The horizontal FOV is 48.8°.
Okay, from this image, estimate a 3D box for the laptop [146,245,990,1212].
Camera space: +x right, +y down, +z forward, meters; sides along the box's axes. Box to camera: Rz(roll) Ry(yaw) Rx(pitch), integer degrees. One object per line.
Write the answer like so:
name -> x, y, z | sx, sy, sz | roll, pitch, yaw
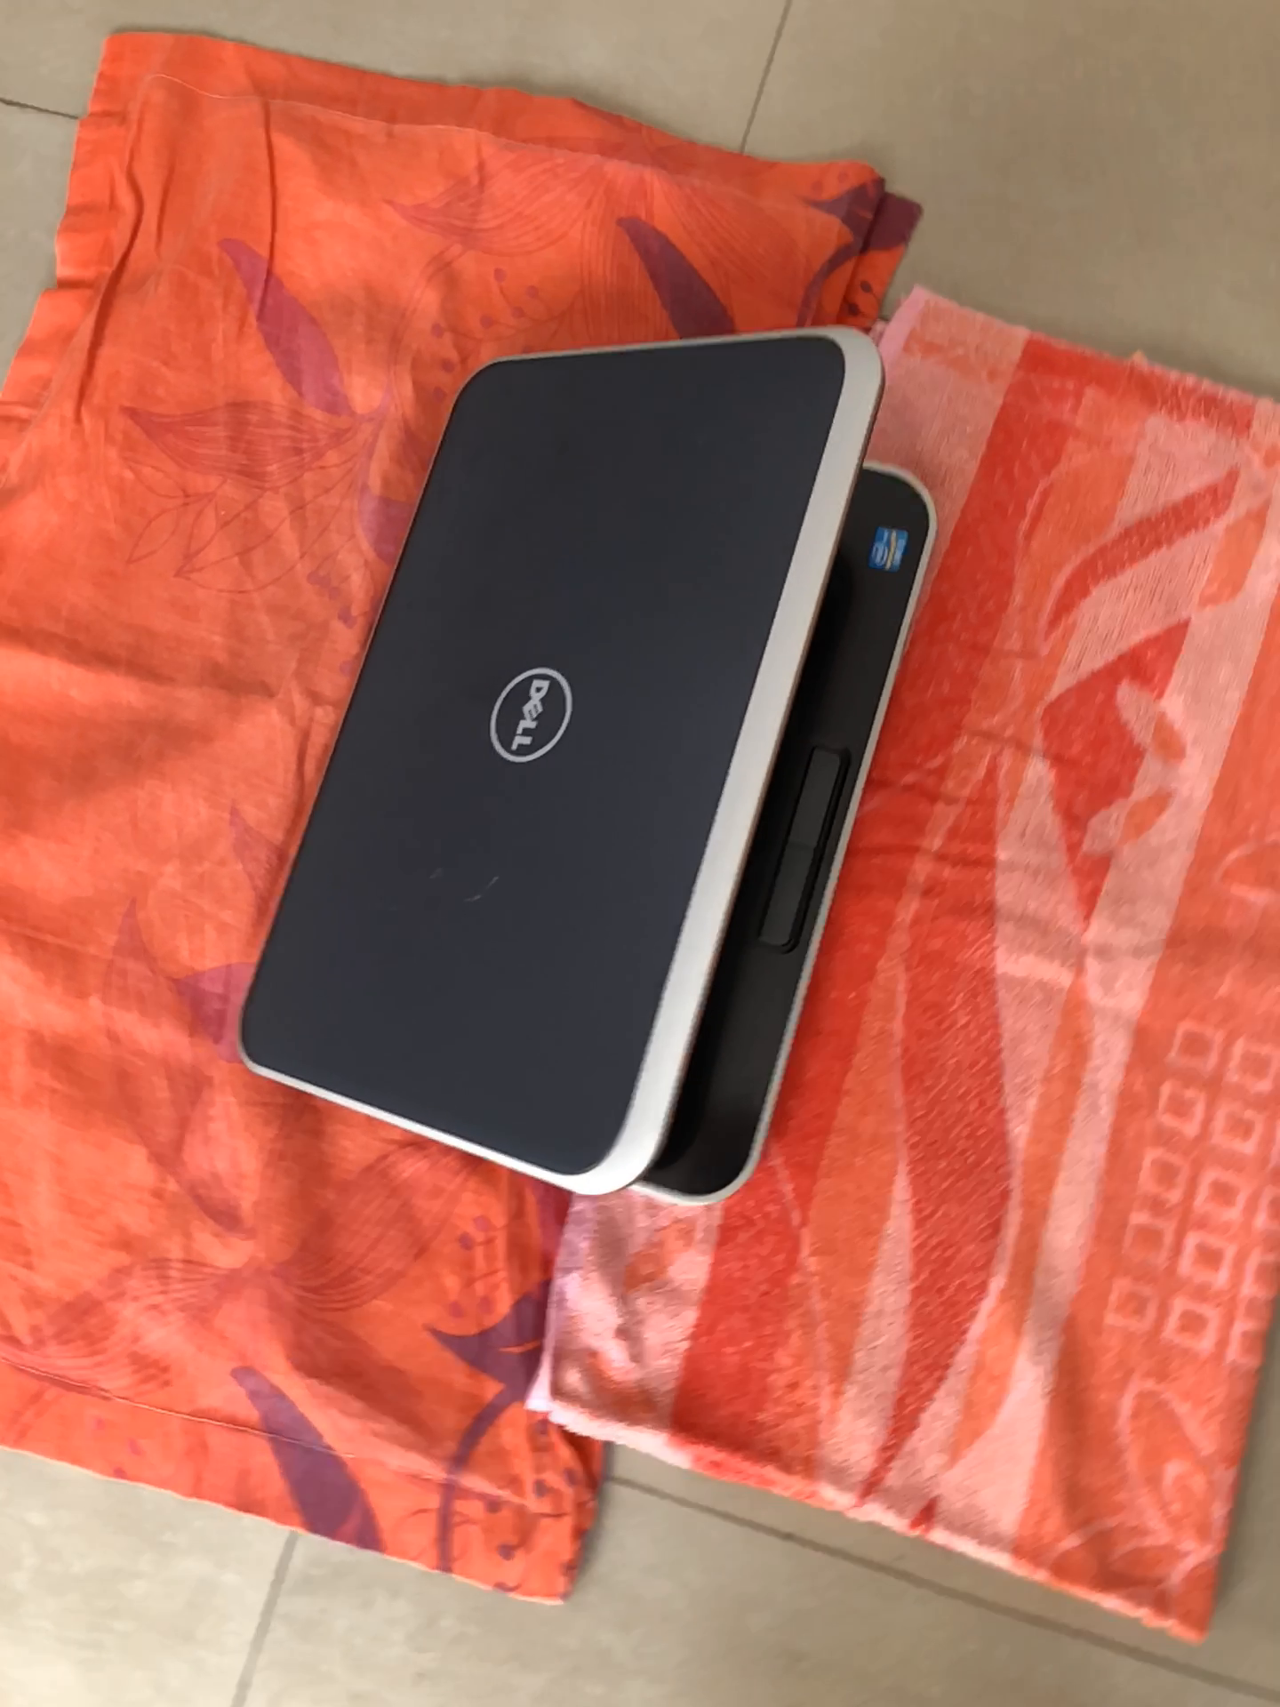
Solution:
laptop -> -0.021, -0.055, 0.617 | 0.241, 0.129, 0.345 | 16, 80, 8
